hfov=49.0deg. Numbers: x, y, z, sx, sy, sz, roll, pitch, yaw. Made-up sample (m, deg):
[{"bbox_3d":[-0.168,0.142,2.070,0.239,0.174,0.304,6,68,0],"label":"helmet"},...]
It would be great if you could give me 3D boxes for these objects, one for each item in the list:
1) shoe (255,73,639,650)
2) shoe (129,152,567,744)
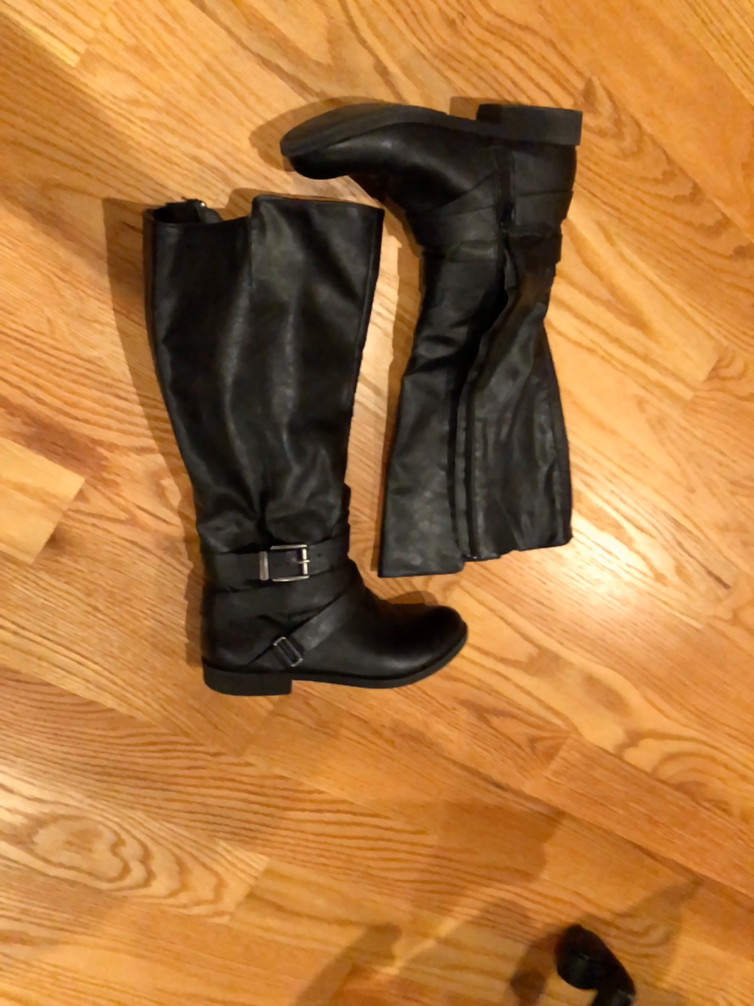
[{"bbox_3d":[0.043,-0.096,0.653,0.251,0.094,0.393,-2,107,-20],"label":"shoe"},{"bbox_3d":[-0.031,-0.038,0.644,0.291,0.104,0.403,-3,109,-20],"label":"shoe"}]
